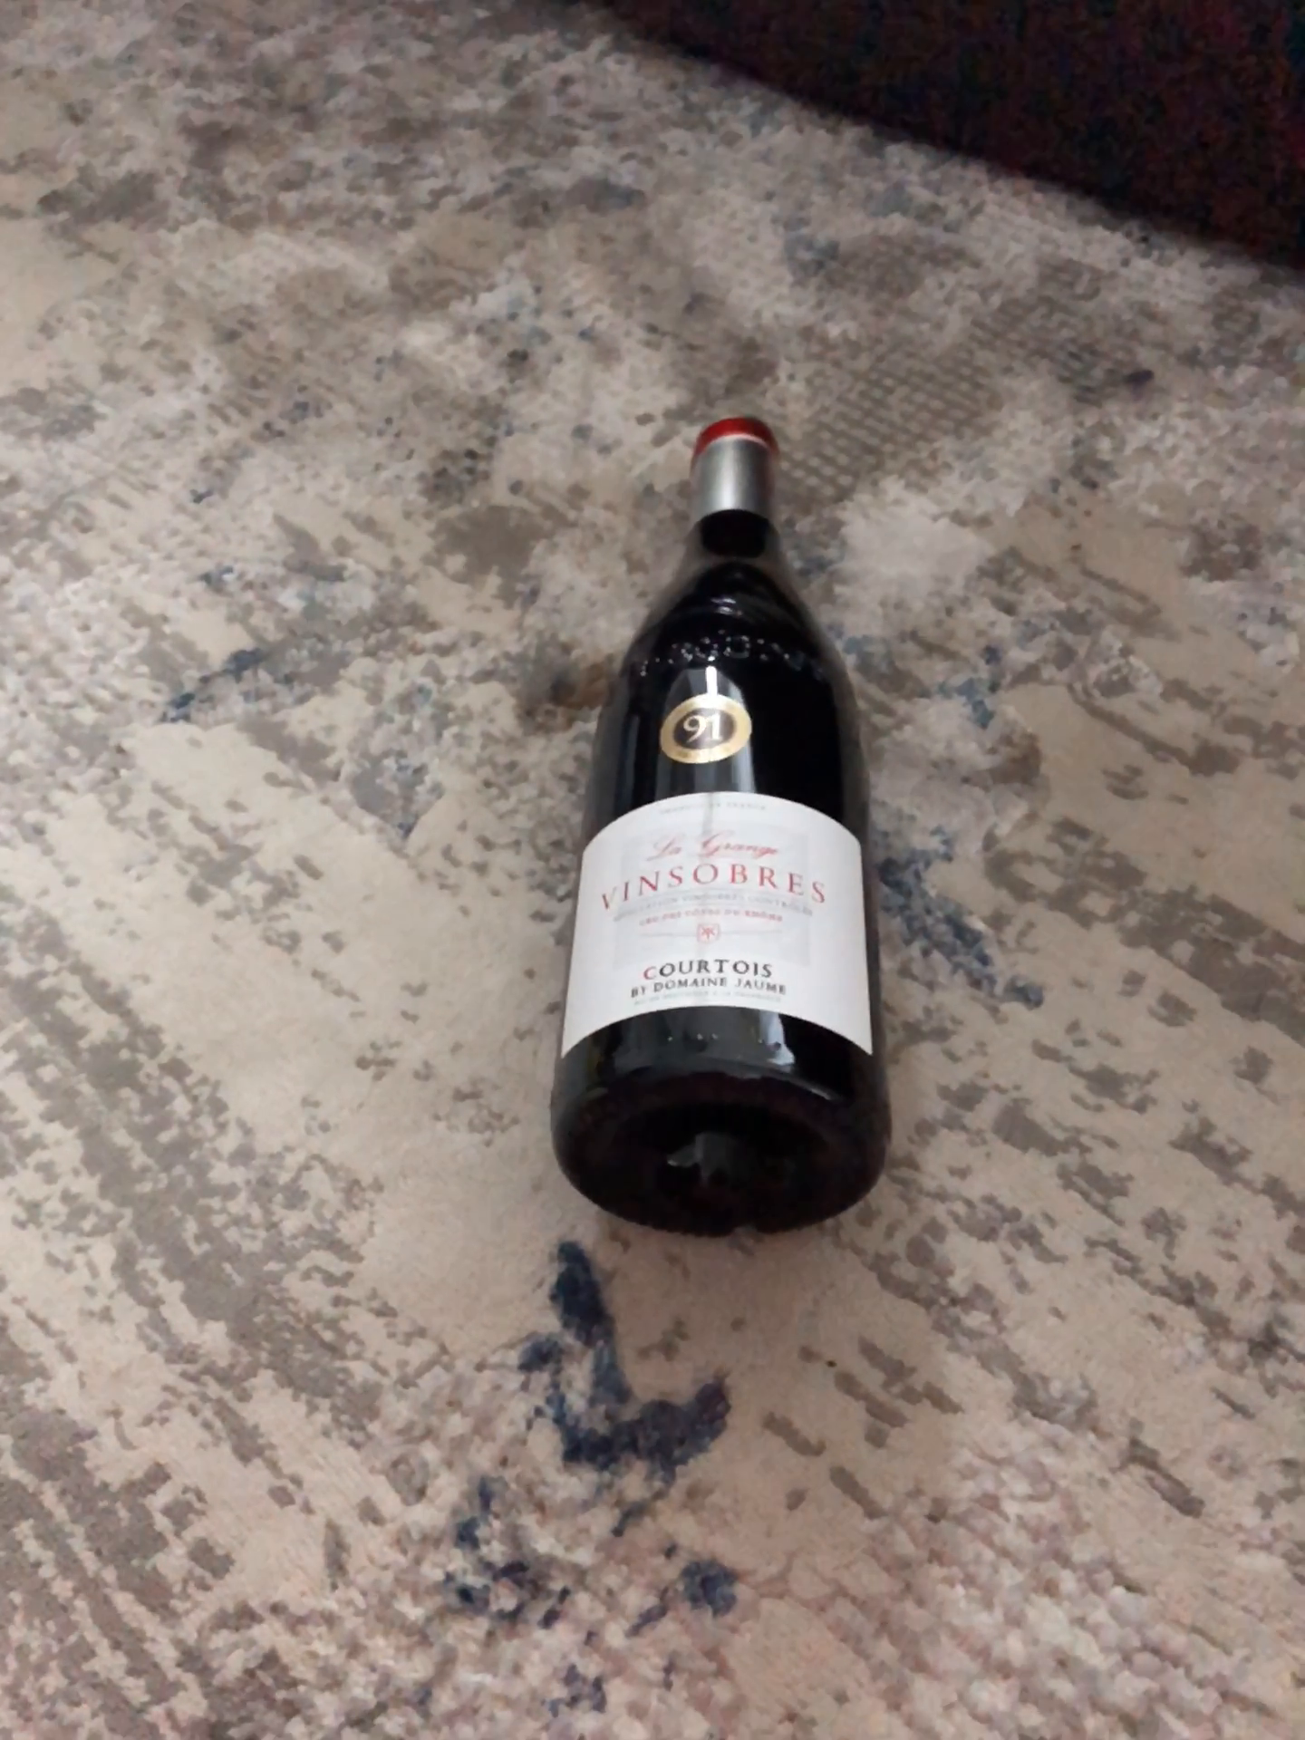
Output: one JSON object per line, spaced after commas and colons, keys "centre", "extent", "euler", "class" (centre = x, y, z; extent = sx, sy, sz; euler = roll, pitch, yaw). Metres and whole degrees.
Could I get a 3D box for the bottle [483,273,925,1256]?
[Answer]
{"centre": [0.021, -0.050, 0.430], "extent": [0.090, 0.100, 0.301], "euler": [0, 51, 5], "class": "bottle"}
